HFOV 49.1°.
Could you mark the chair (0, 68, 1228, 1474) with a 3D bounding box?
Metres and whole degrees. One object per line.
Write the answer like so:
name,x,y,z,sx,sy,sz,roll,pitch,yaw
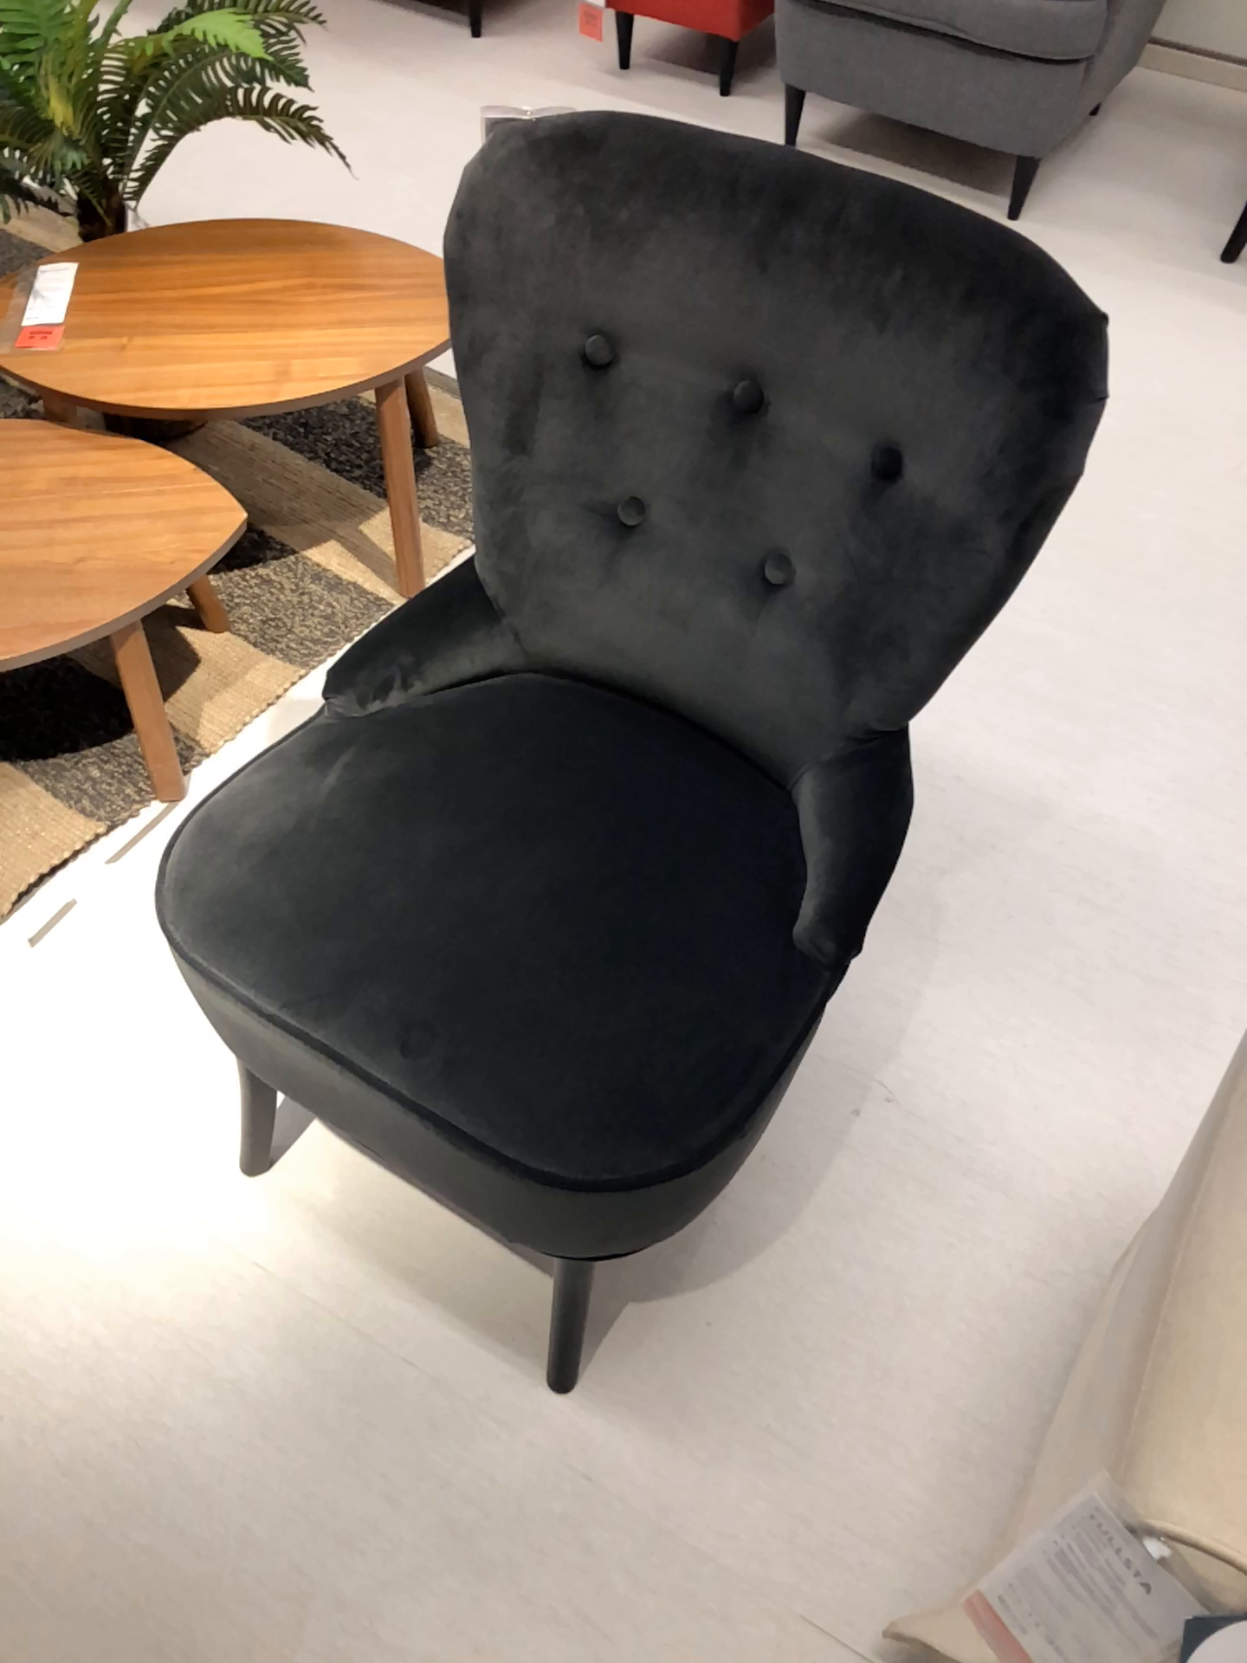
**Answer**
chair,-0.009,-0.061,1.224,0.601,0.775,0.793,26,55,19
